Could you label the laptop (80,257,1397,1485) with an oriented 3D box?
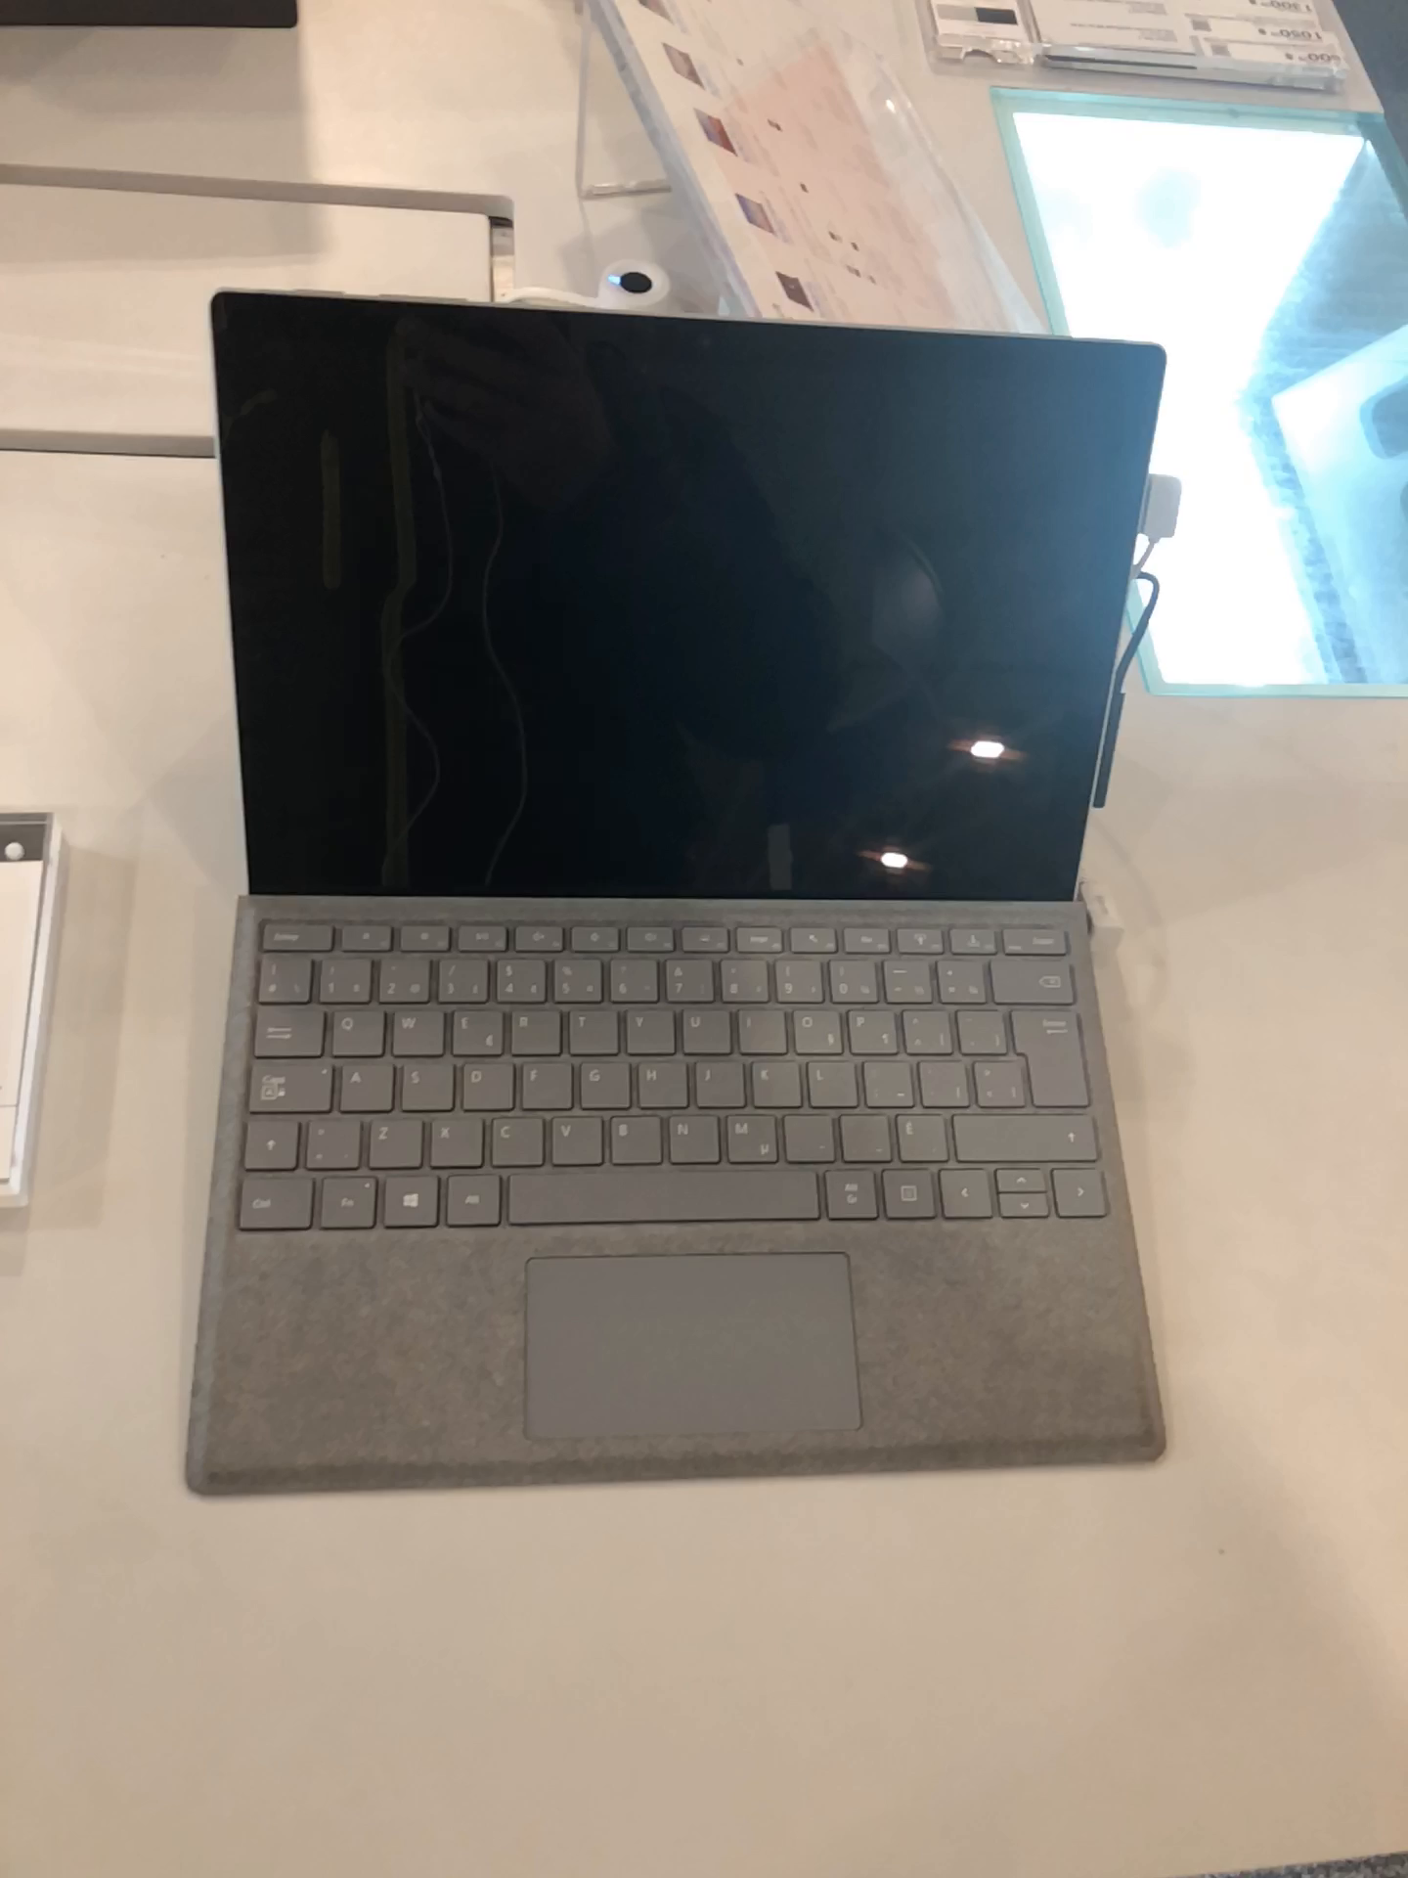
[{"bbox_3d":[0.001,-0.019,0.451,0.278,0.148,0.297,1,64,-7],"label":"laptop"}]
